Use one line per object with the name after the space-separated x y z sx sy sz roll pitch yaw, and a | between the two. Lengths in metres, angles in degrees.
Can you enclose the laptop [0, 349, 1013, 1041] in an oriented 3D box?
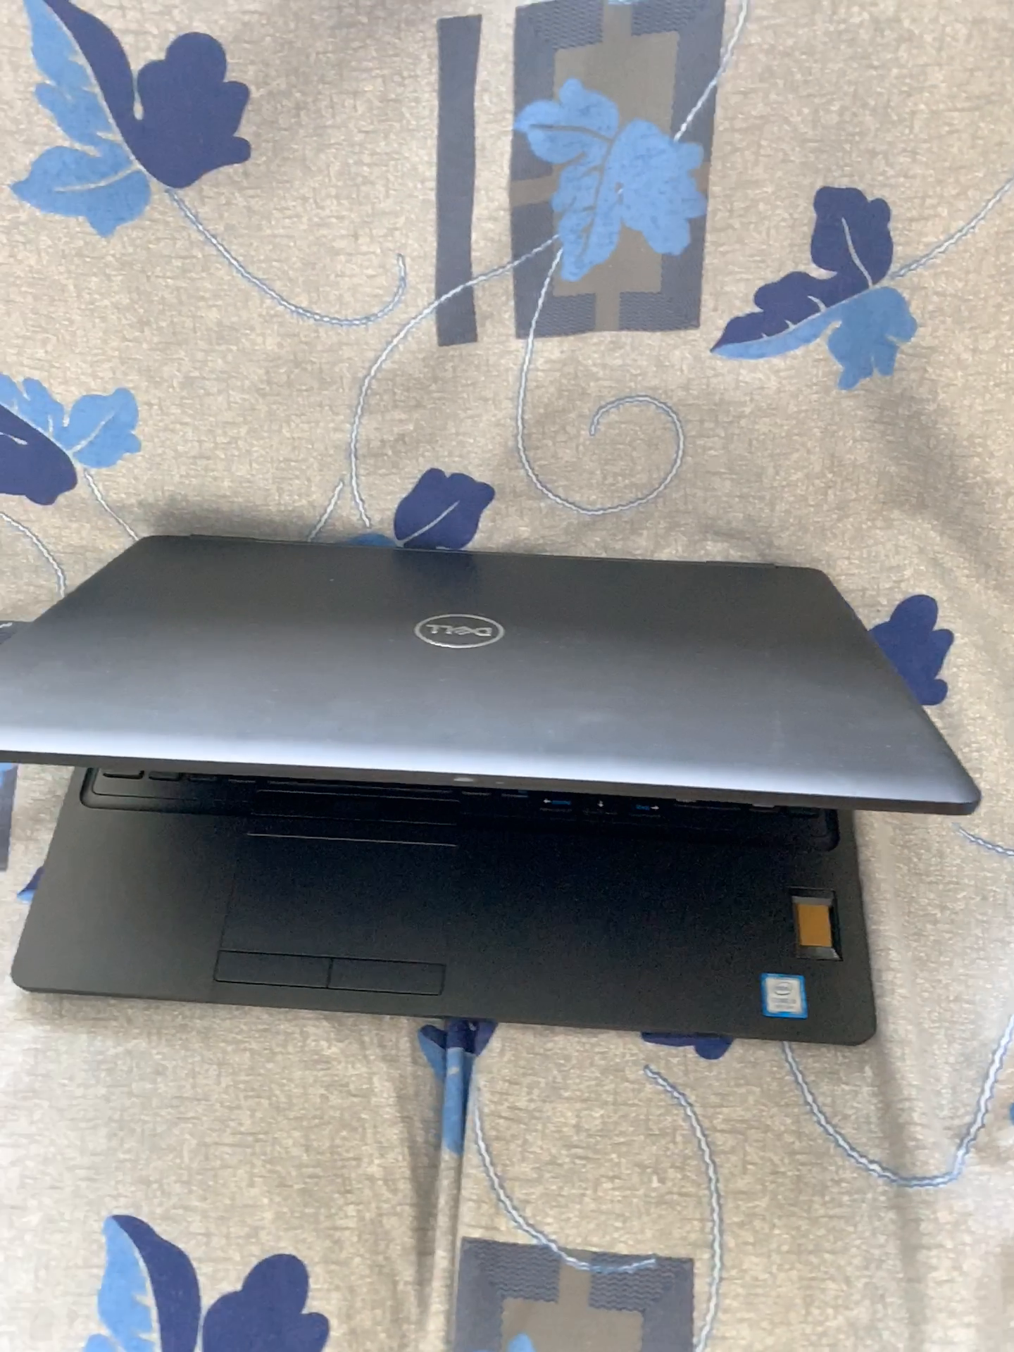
-0.023 0.005 0.440 0.371 0.142 0.239 3 59 2 | laptop
